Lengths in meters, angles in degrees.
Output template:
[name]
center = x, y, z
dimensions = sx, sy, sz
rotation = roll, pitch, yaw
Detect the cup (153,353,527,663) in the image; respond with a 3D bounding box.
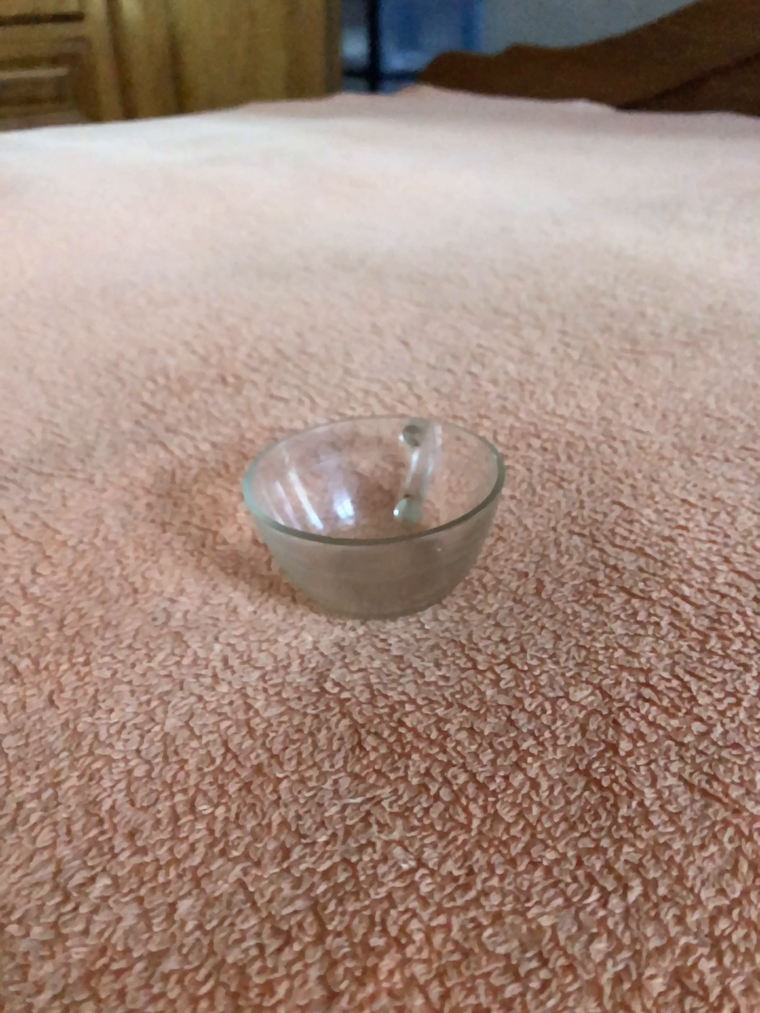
[cup]
center = -0.005, -0.008, 0.280
dimensions = 0.090, 0.040, 0.111
rotation = 7, 33, 13
